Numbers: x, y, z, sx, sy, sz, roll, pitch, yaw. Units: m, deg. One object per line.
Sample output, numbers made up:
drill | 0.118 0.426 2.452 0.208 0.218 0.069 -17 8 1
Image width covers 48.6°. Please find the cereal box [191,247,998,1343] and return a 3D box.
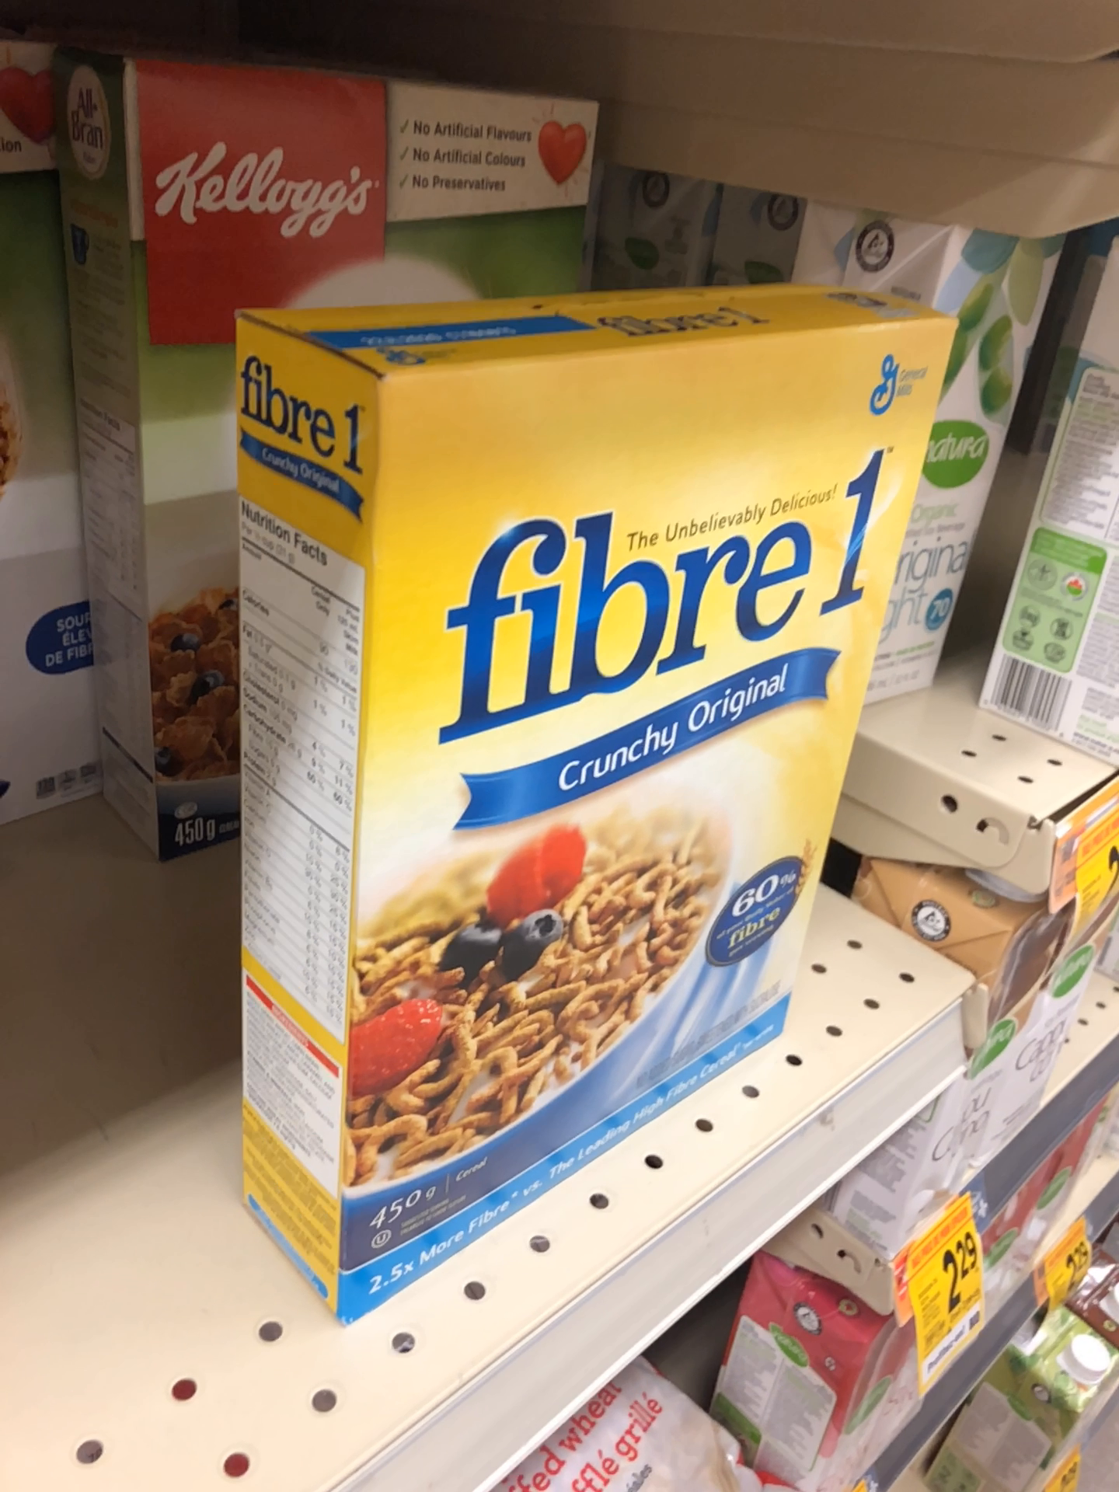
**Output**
cereal box | 0.008 0.005 0.357 0.211 0.268 0.060 -20 39 -40
